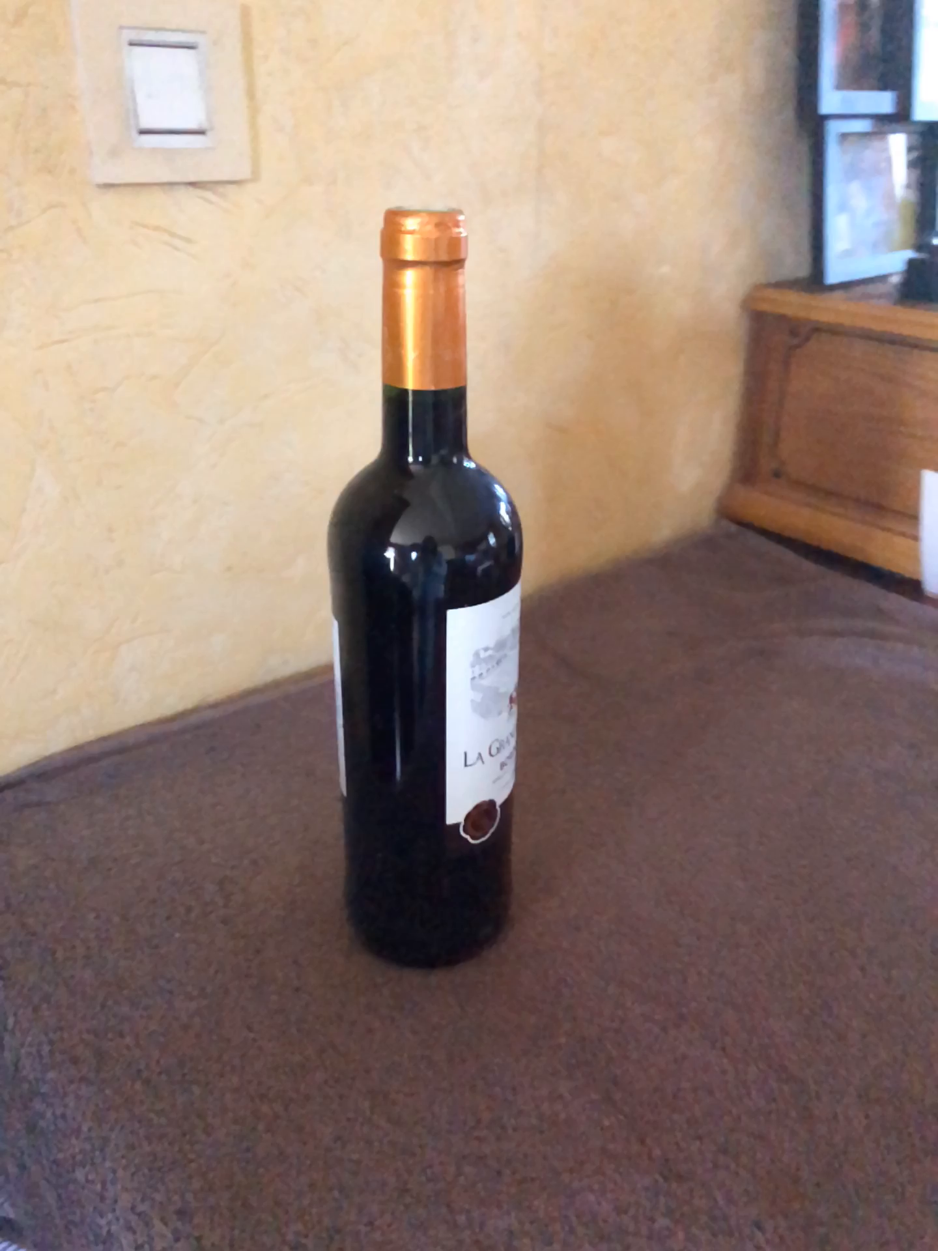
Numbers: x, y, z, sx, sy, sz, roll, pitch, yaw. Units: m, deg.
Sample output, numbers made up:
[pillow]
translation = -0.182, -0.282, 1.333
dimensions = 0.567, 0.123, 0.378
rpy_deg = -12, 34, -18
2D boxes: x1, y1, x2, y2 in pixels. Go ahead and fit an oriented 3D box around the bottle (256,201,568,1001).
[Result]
[bottle]
translation = -0.017, -0.001, 0.407
dimensions = 0.080, 0.298, 0.081
rpy_deg = 1, 26, 0
